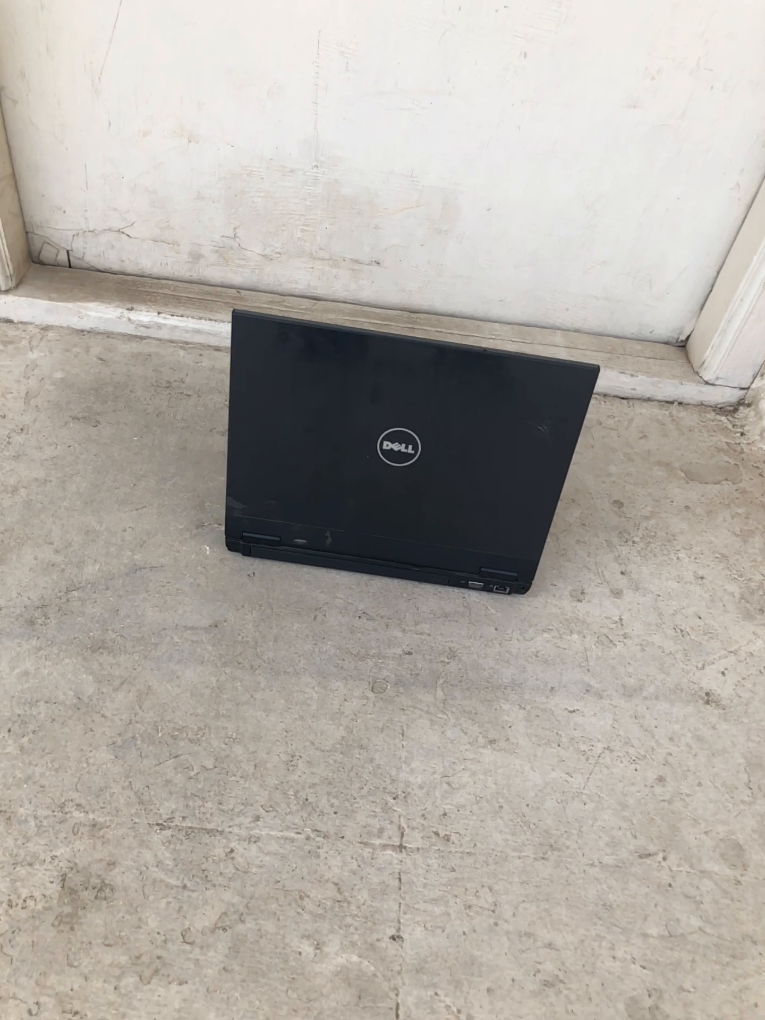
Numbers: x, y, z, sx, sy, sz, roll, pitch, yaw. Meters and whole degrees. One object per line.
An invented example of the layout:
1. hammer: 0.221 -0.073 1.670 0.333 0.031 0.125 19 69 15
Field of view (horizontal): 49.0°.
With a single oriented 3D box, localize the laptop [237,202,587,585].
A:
1. laptop: 0.022 -0.111 0.829 0.279 0.252 0.225 8 48 0
